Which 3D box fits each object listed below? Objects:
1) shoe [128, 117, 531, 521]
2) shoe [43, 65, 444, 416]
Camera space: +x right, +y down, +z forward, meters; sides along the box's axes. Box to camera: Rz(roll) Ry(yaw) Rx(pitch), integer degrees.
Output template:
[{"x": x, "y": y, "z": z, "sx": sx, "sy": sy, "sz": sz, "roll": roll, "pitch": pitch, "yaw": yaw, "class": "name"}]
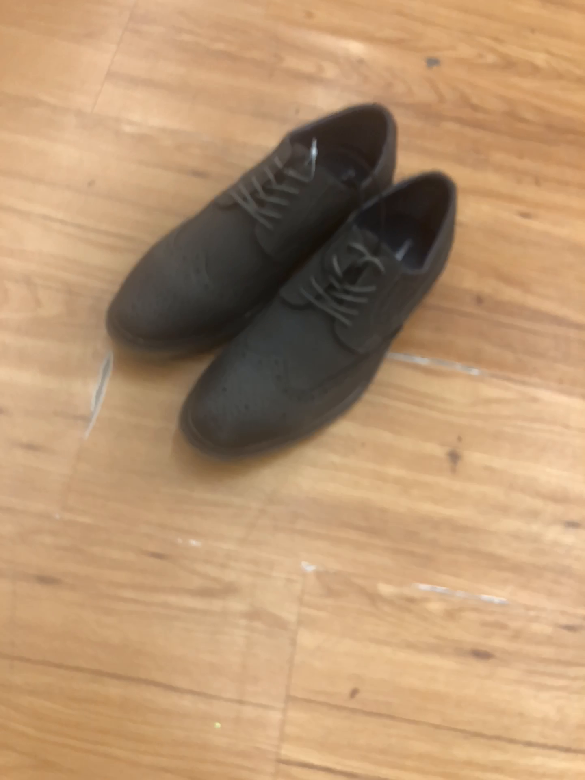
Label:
[{"x": 0.030, "y": -0.057, "z": 0.480, "sx": 0.110, "sy": 0.110, "sz": 0.280, "roll": 42, "pitch": 66, "yaw": 10, "class": "shoe"}, {"x": -0.030, "y": -0.121, "z": 0.521, "sx": 0.280, "sy": 0.110, "sz": 0.110, "roll": -38, "pitch": 77, "yaw": -23, "class": "shoe"}]
